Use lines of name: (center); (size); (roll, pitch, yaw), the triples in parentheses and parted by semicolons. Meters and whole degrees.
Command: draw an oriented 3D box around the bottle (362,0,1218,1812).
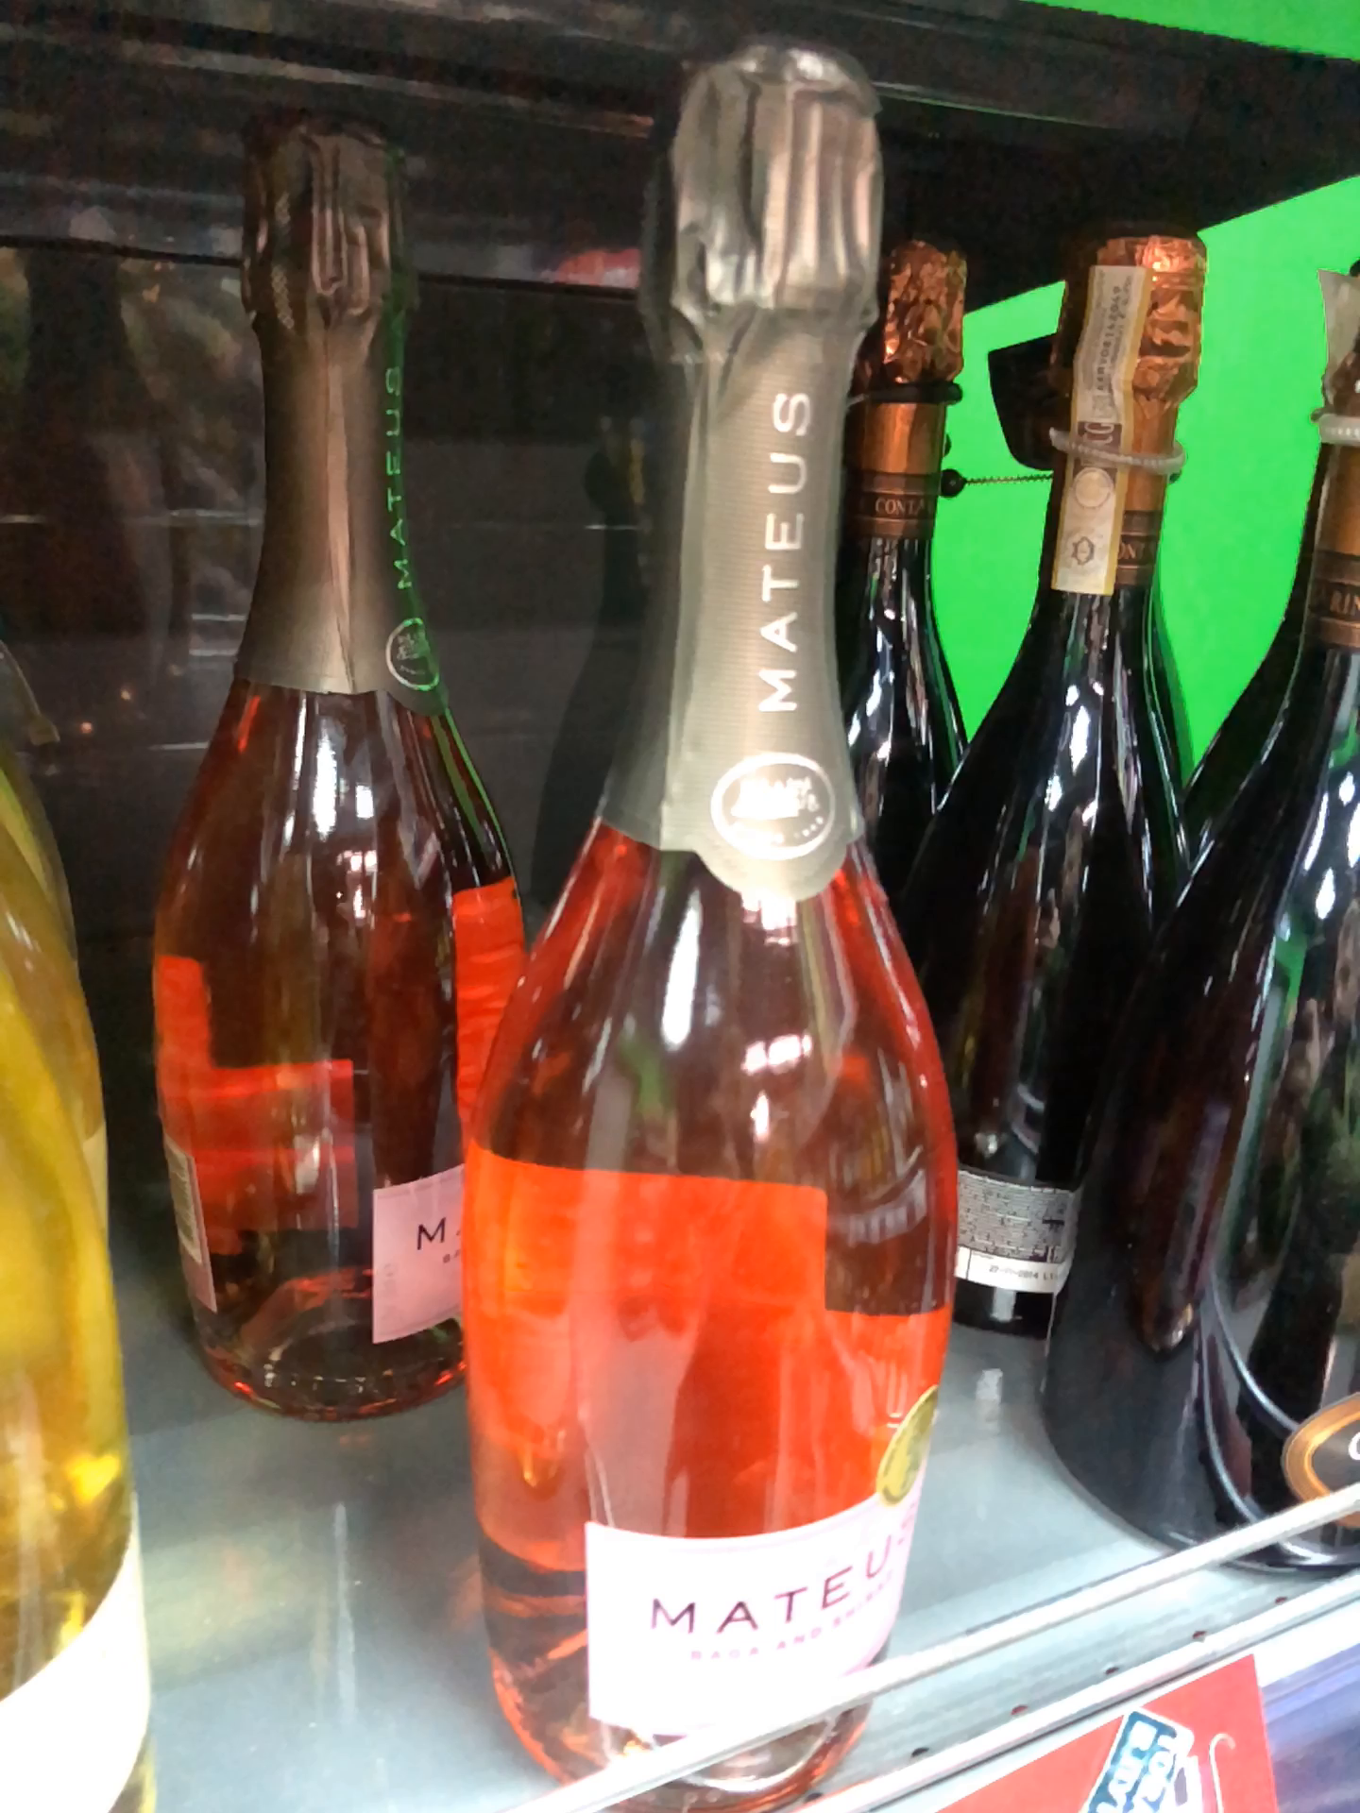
bottle: (0.003, 0.017, 0.280); (0.100, 0.319, 0.090); (-6, 20, -26)
